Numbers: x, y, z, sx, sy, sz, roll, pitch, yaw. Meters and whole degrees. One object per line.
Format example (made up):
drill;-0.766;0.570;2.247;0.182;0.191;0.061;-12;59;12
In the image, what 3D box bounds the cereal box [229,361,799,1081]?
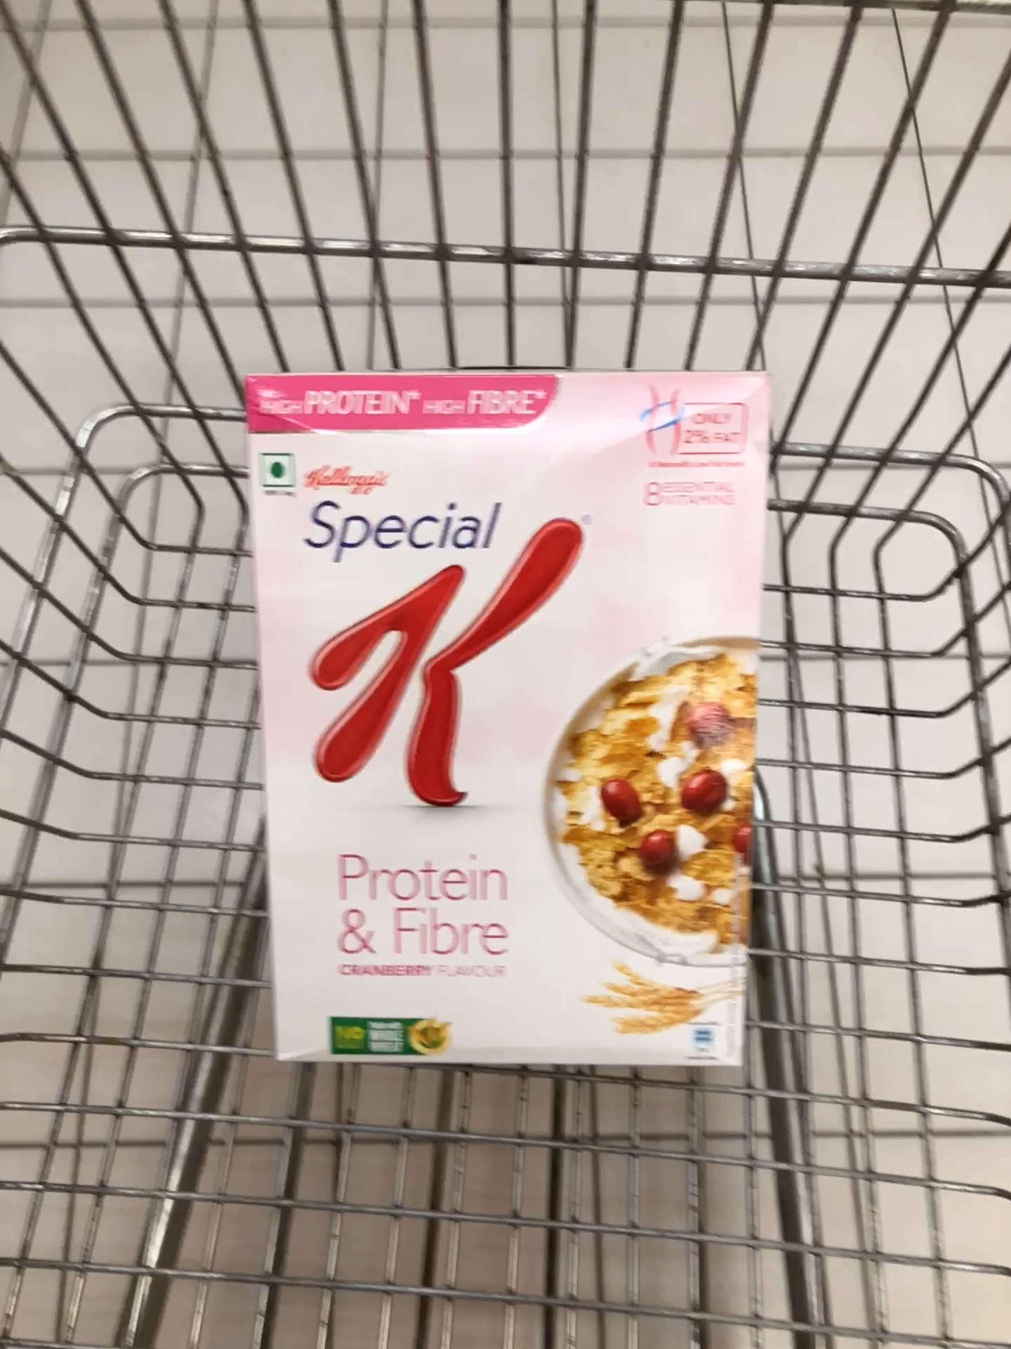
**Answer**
cereal box;0.002;0.015;0.455;0.190;0.100;0.270;1;104;0
